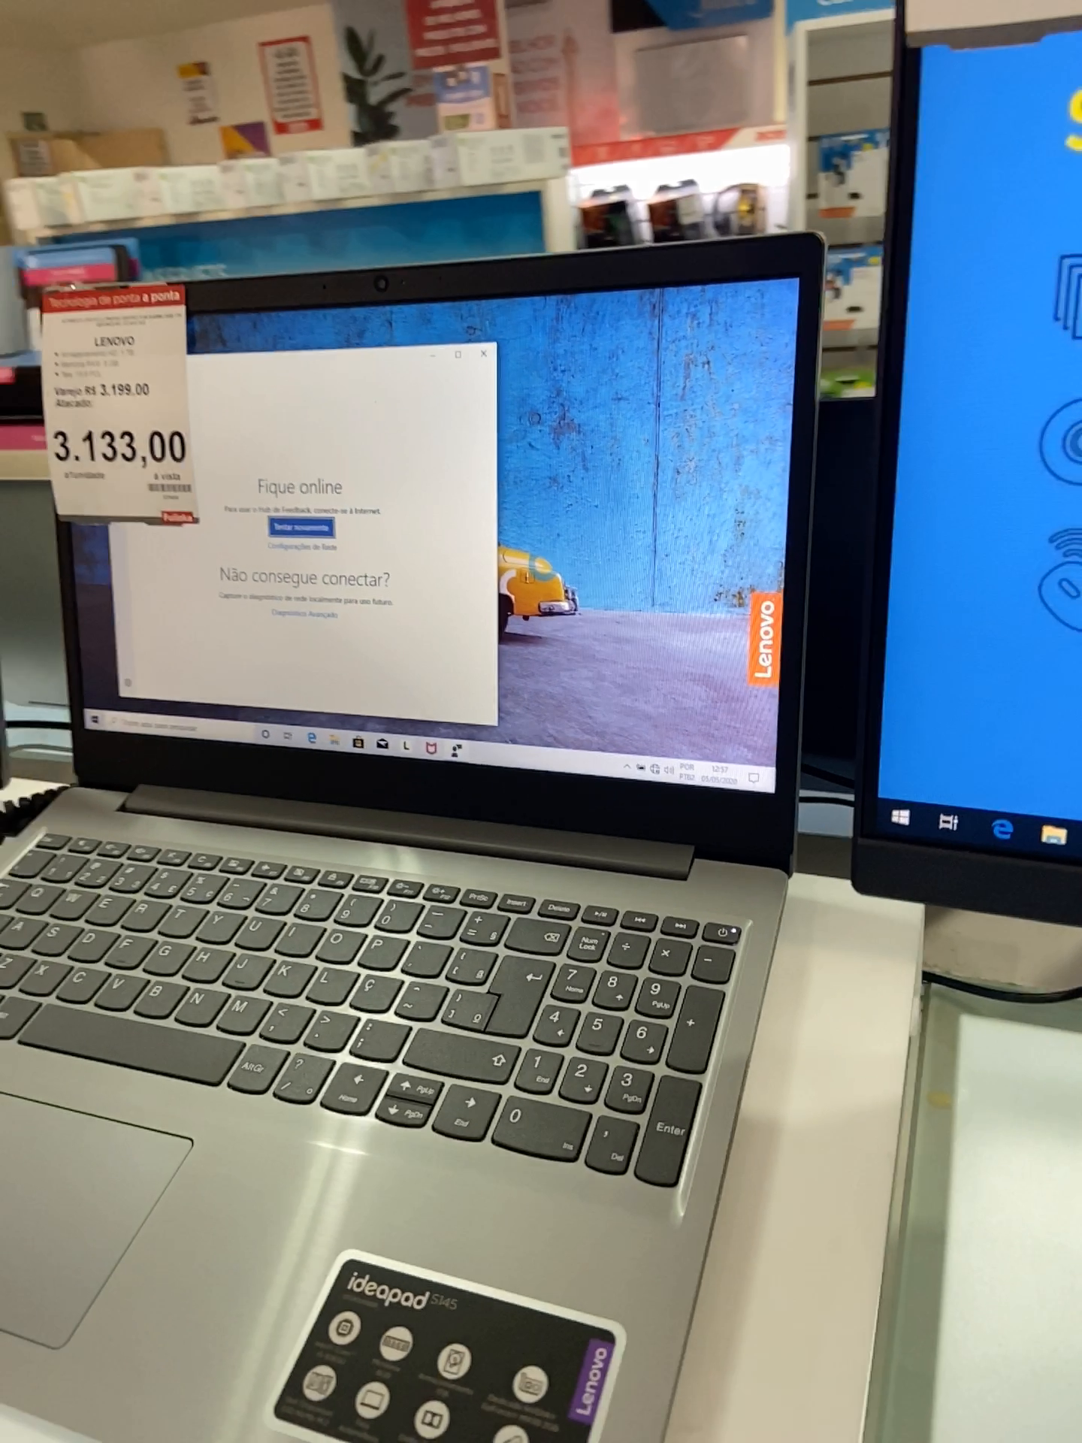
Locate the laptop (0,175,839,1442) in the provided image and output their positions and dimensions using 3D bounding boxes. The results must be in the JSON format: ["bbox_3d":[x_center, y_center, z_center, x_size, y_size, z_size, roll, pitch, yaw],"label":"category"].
[{"bbox_3d":[-0.103,-0.015,0.402,0.362,0.224,0.361,4,34,21],"label":"laptop"}]
